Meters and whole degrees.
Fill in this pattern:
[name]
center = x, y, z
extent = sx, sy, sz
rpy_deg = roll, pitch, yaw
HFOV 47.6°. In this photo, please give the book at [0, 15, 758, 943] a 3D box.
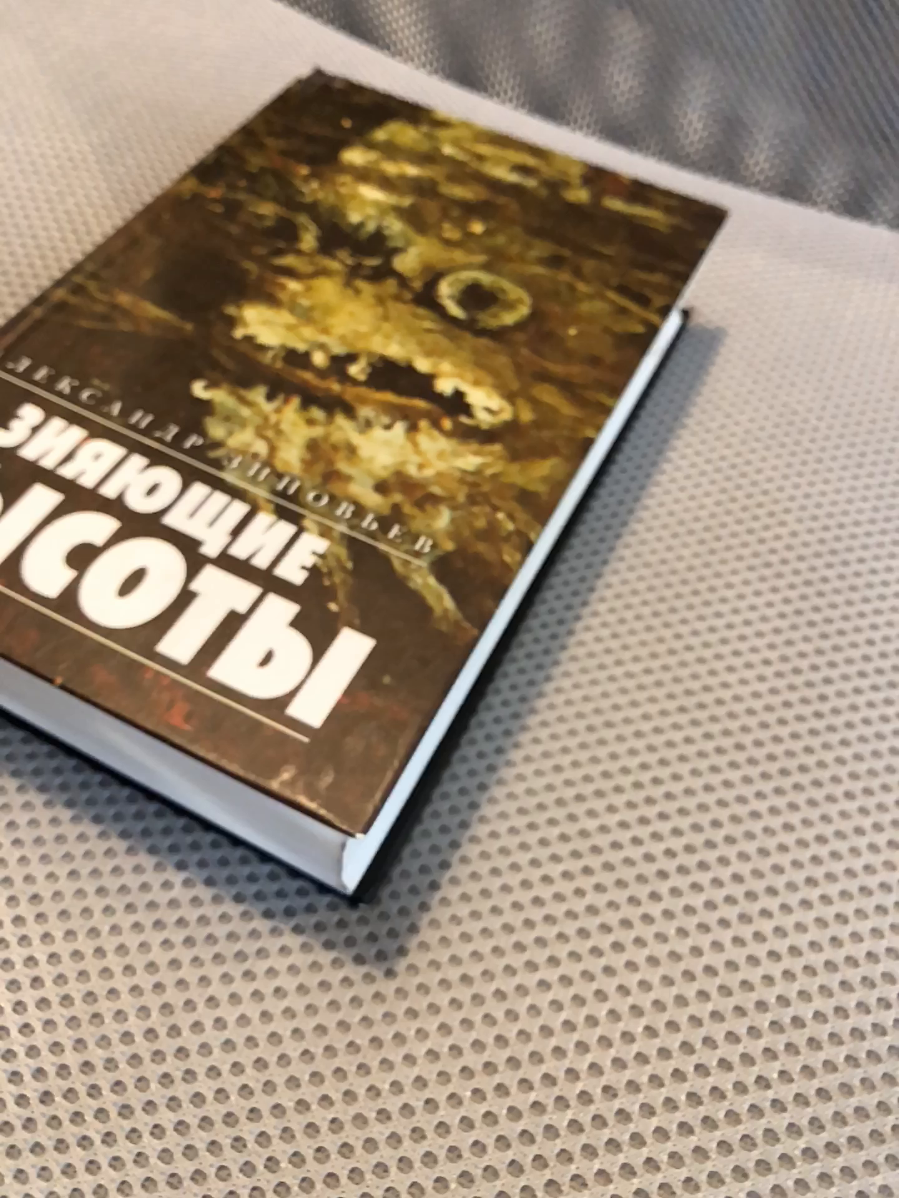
[book]
center = -0.030, -0.046, 0.235
extent = 0.140, 0.040, 0.191
rpy_deg = 25, 62, 10
